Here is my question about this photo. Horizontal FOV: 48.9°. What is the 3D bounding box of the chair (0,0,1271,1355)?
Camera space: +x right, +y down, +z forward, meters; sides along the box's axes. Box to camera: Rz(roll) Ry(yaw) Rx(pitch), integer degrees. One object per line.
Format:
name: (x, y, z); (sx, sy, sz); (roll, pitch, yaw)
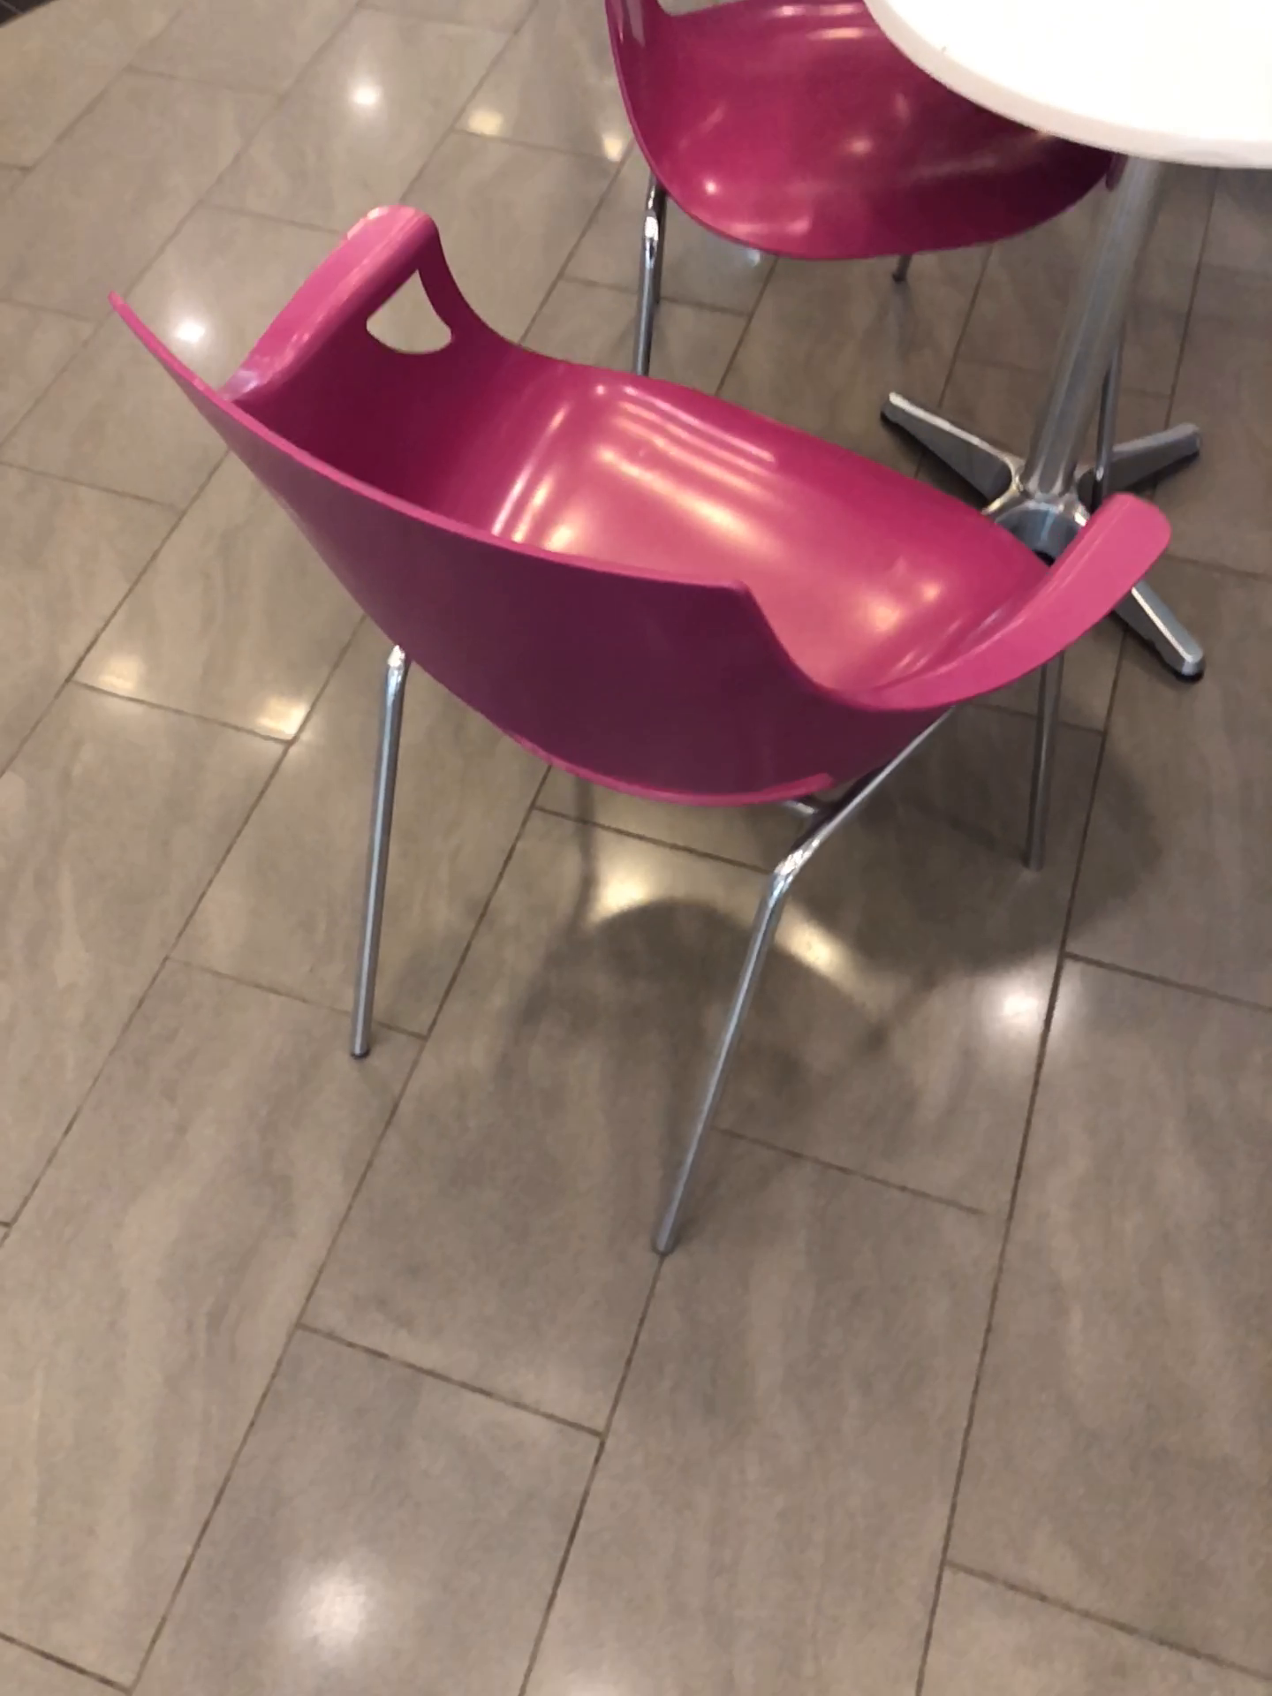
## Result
chair: (0.025, -0.139, 1.067); (0.630, 0.758, 0.591); (30, 63, 19)
